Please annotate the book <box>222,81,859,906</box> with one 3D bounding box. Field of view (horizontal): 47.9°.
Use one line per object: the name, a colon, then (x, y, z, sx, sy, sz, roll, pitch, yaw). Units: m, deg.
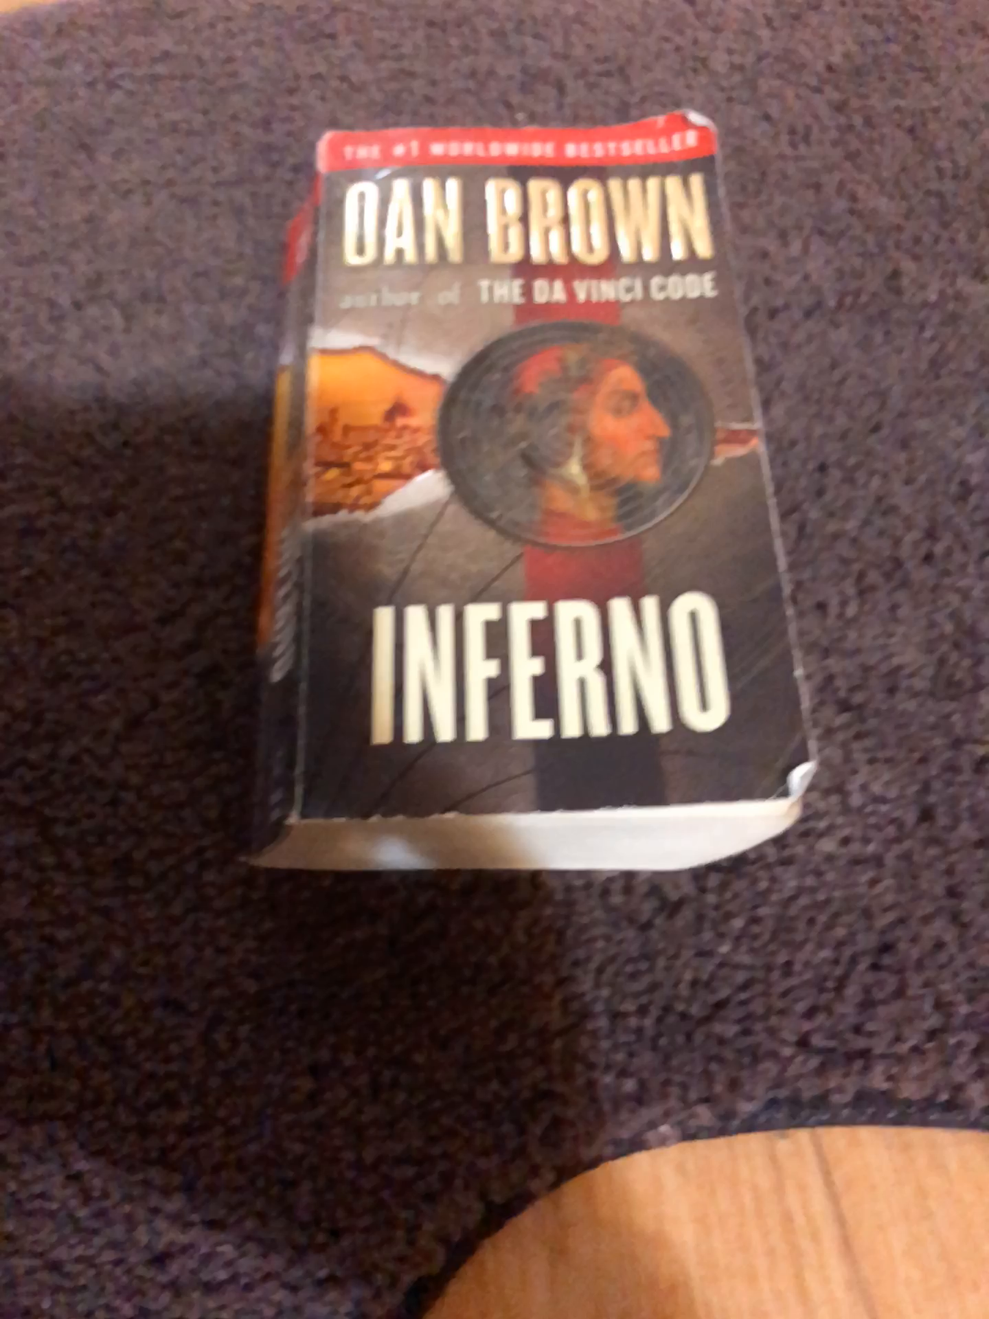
book: (0.005, -0.047, 0.272, 0.120, 0.050, 0.200, 0, 67, -3)
